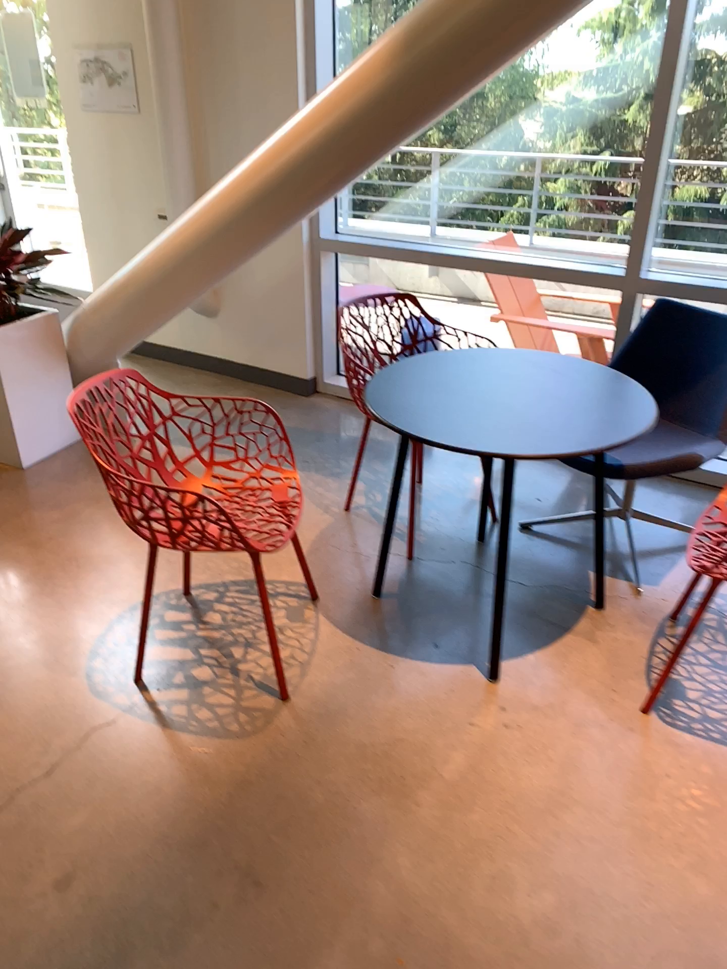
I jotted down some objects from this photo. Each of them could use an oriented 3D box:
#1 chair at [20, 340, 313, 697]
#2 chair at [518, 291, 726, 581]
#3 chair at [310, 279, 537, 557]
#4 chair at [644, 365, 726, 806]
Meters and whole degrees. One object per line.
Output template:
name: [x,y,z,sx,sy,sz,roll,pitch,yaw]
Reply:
chair: [-0.471,0.068,2.054,0.530,0.765,0.563,5,28,8]
chair: [0.953,-0.197,2.560,0.510,0.765,0.563,-13,31,-24]
chair: [0.185,-0.268,2.653,0.560,0.765,0.533,-14,31,-25]
chair: [1.112,0.200,1.815,0.561,0.765,0.552,16,32,28]
